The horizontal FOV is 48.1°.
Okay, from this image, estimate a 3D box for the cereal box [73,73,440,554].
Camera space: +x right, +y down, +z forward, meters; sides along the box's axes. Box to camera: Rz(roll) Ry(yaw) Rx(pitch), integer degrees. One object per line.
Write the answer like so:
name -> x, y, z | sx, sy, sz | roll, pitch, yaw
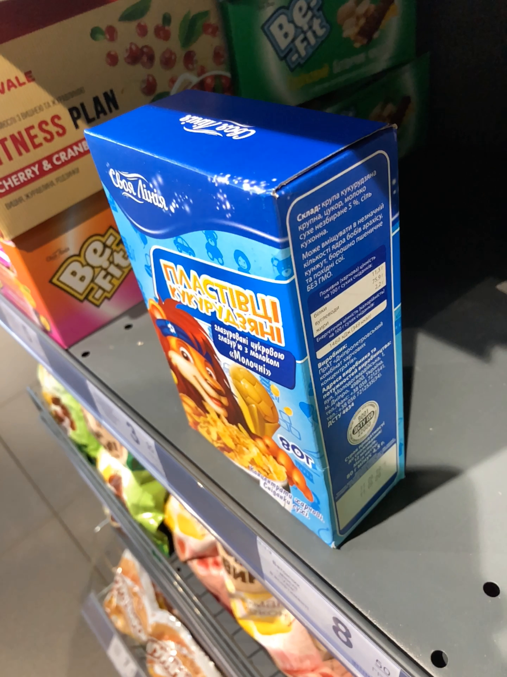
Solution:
cereal box -> 0.007, -0.010, 0.245 | 0.060, 0.169, 0.121 | -36, 45, -26
